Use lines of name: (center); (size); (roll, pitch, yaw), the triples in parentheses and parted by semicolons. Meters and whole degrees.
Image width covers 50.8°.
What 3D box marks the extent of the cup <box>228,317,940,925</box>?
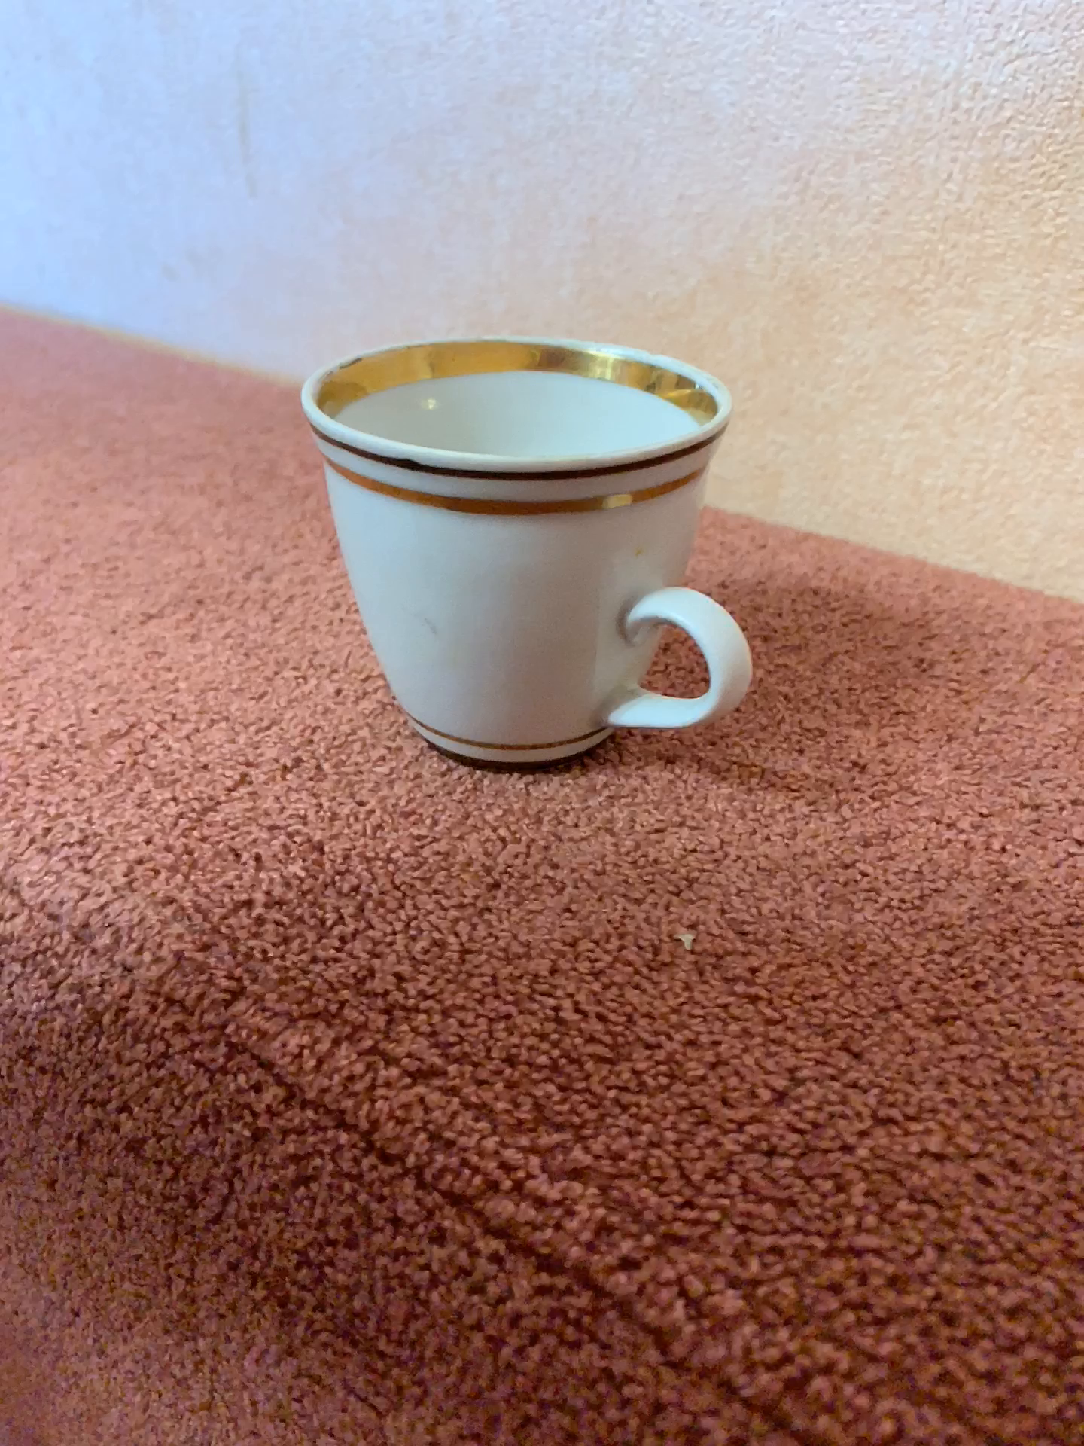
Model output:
cup: (0.003, -0.022, 0.163); (0.055, 0.048, 0.078); (-27, 41, -35)
